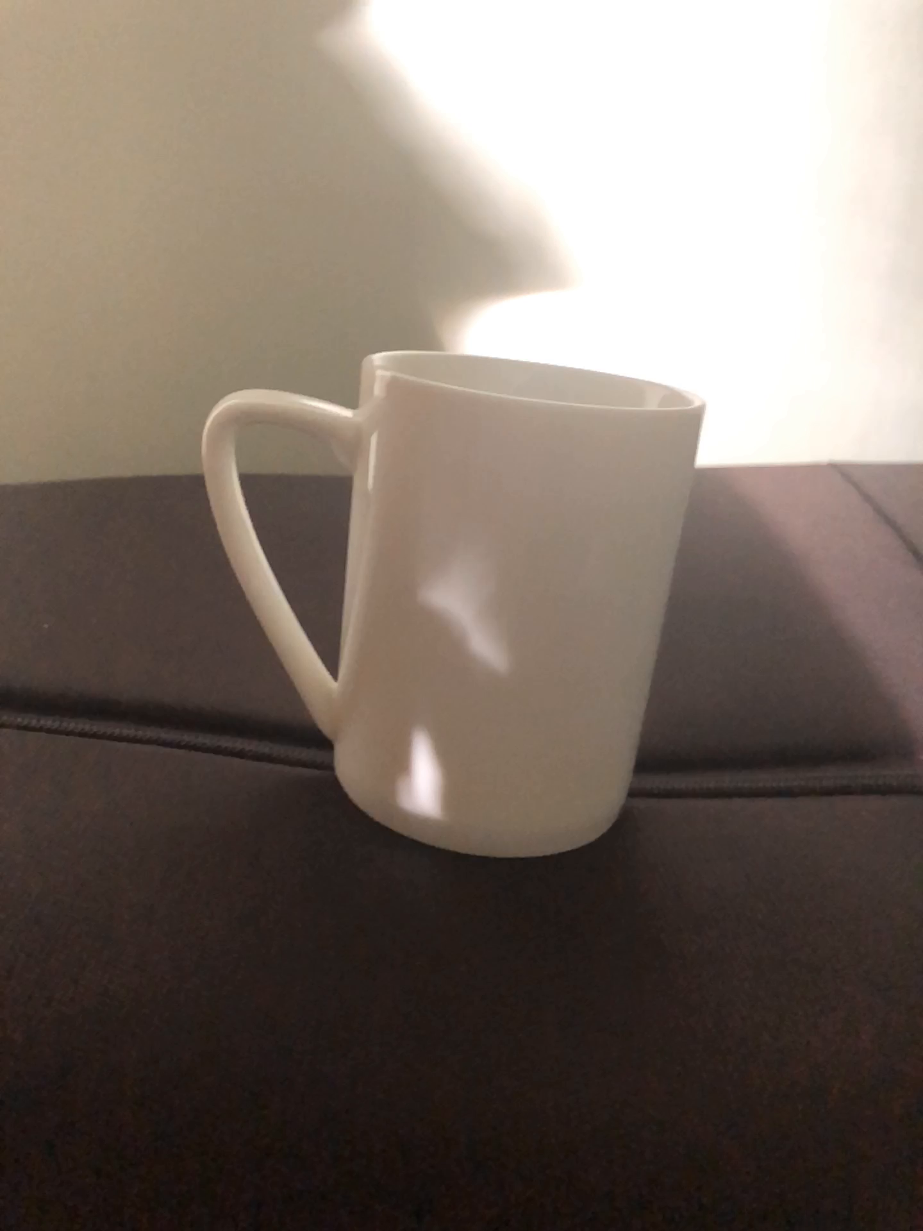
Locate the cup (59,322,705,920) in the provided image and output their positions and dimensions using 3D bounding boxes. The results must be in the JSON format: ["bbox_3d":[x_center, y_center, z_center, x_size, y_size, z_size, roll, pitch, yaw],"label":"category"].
[{"bbox_3d":[-0.011,-0.011,0.230,0.108,0.090,0.097,12,18,12],"label":"cup"}]
